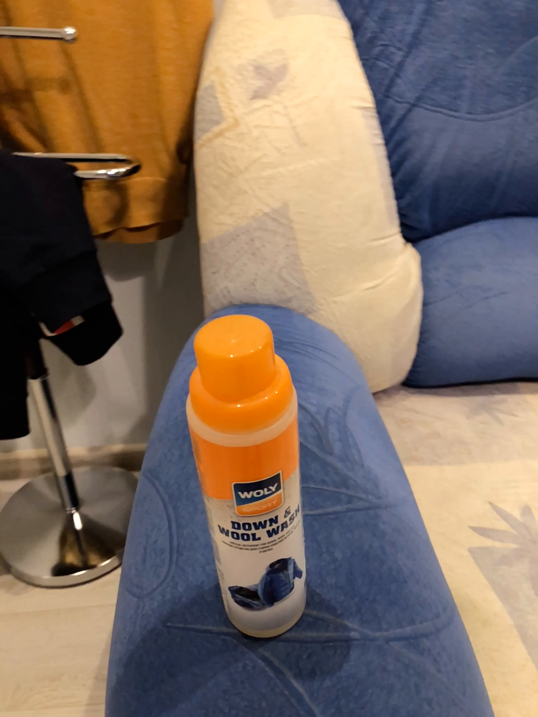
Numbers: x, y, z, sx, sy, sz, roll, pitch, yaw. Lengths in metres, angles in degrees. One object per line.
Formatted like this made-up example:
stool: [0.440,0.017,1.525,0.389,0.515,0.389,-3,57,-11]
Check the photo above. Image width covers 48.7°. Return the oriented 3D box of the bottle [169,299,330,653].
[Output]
bottle: [-0.004,0.068,0.291,0.052,0.188,0.052,-3,39,3]
